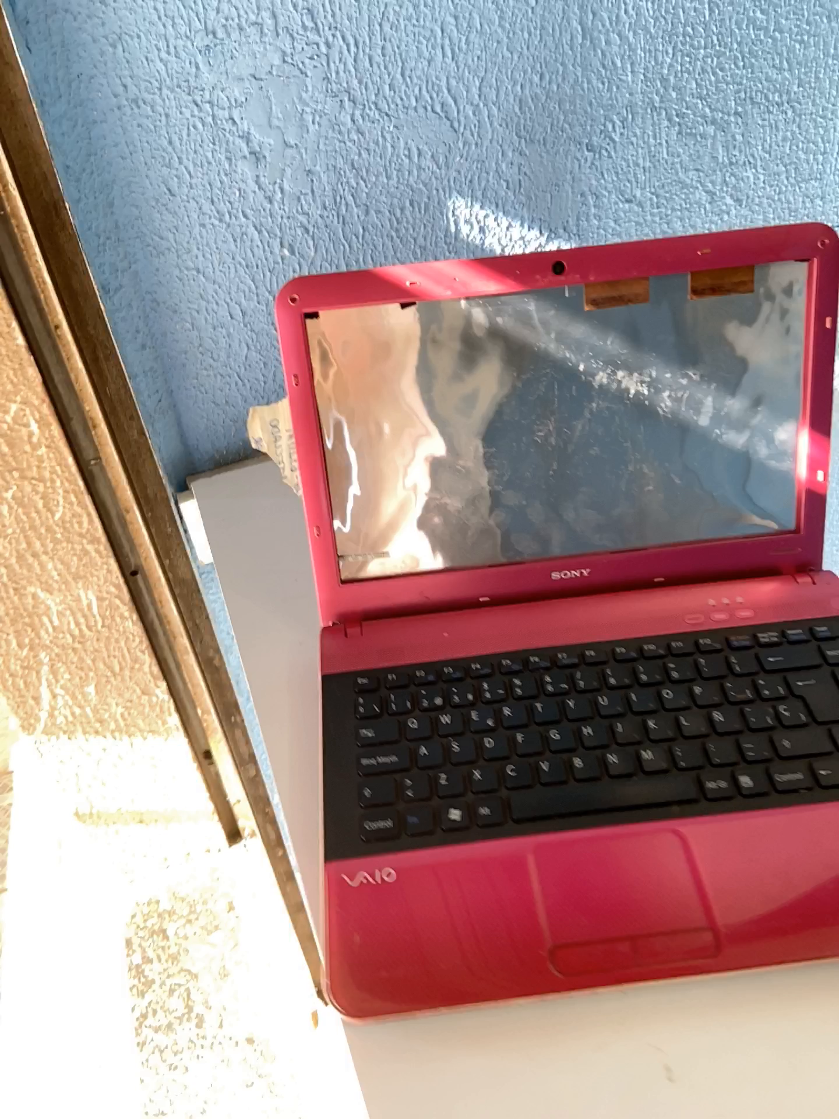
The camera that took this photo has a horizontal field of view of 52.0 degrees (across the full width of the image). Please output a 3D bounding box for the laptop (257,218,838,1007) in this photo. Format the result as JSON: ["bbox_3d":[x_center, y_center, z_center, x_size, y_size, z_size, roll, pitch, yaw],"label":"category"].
[{"bbox_3d":[0.104,0.001,0.459,0.330,0.187,0.341,-6,44,-1],"label":"laptop"}]
